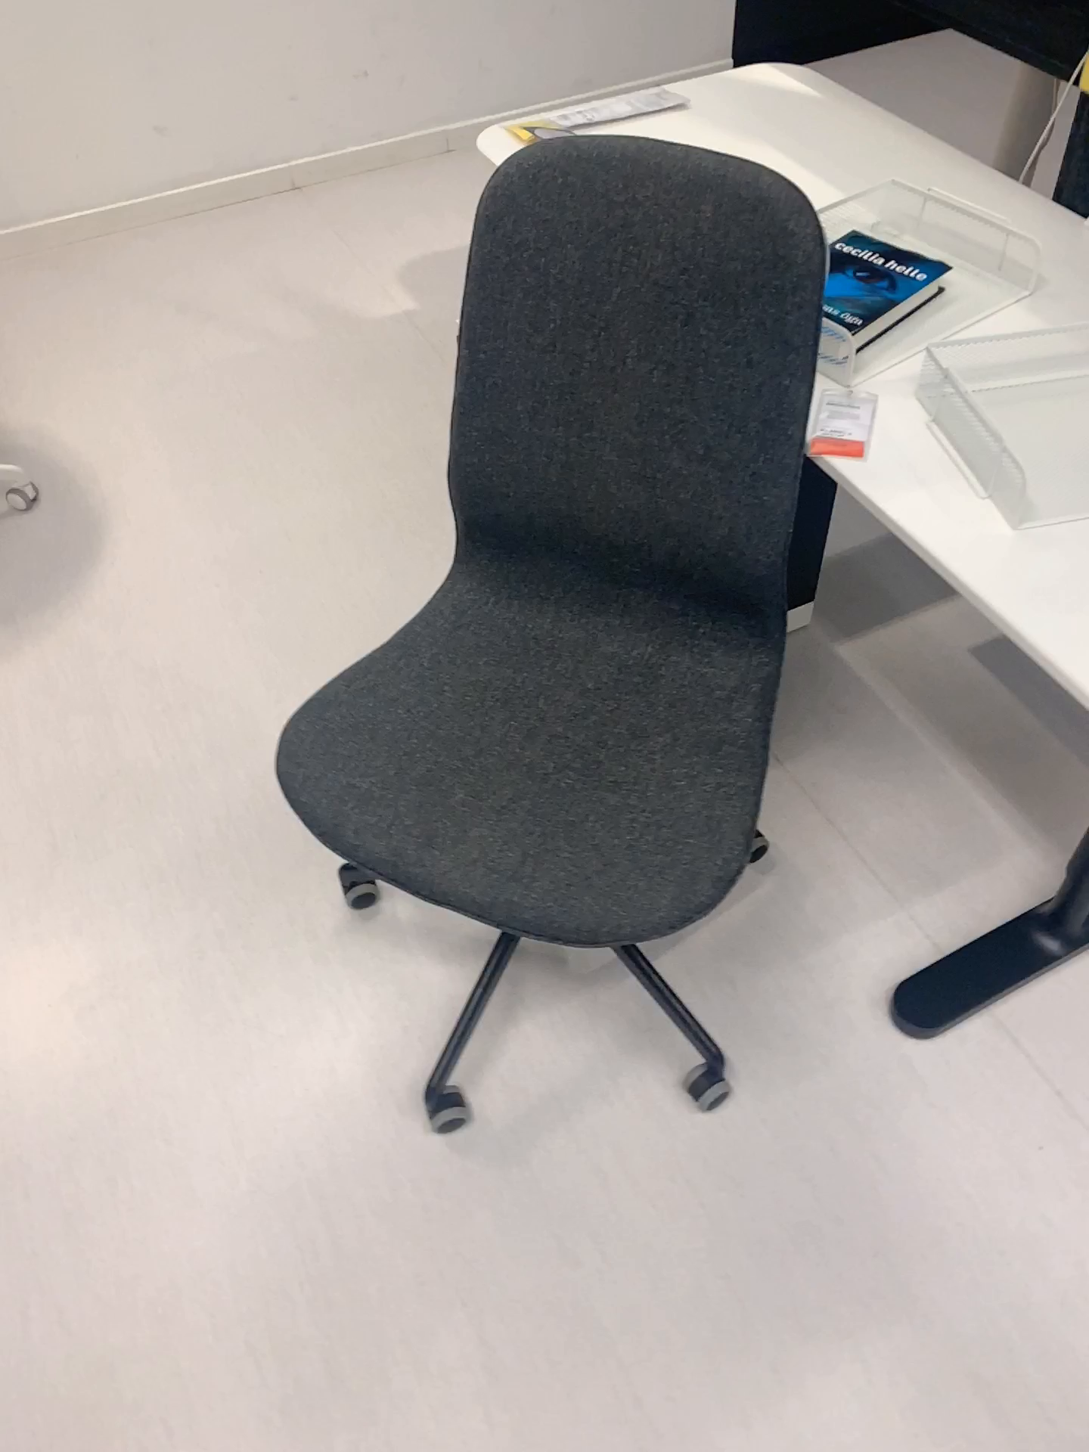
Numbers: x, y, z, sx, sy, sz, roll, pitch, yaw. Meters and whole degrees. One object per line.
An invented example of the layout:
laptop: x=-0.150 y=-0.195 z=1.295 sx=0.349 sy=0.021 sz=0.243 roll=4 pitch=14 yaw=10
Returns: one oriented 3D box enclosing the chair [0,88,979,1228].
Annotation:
chair: x=-0.009 y=-0.027 z=1.247 sx=0.631 sy=0.996 sz=0.642 roll=16 pitch=51 yaw=16
